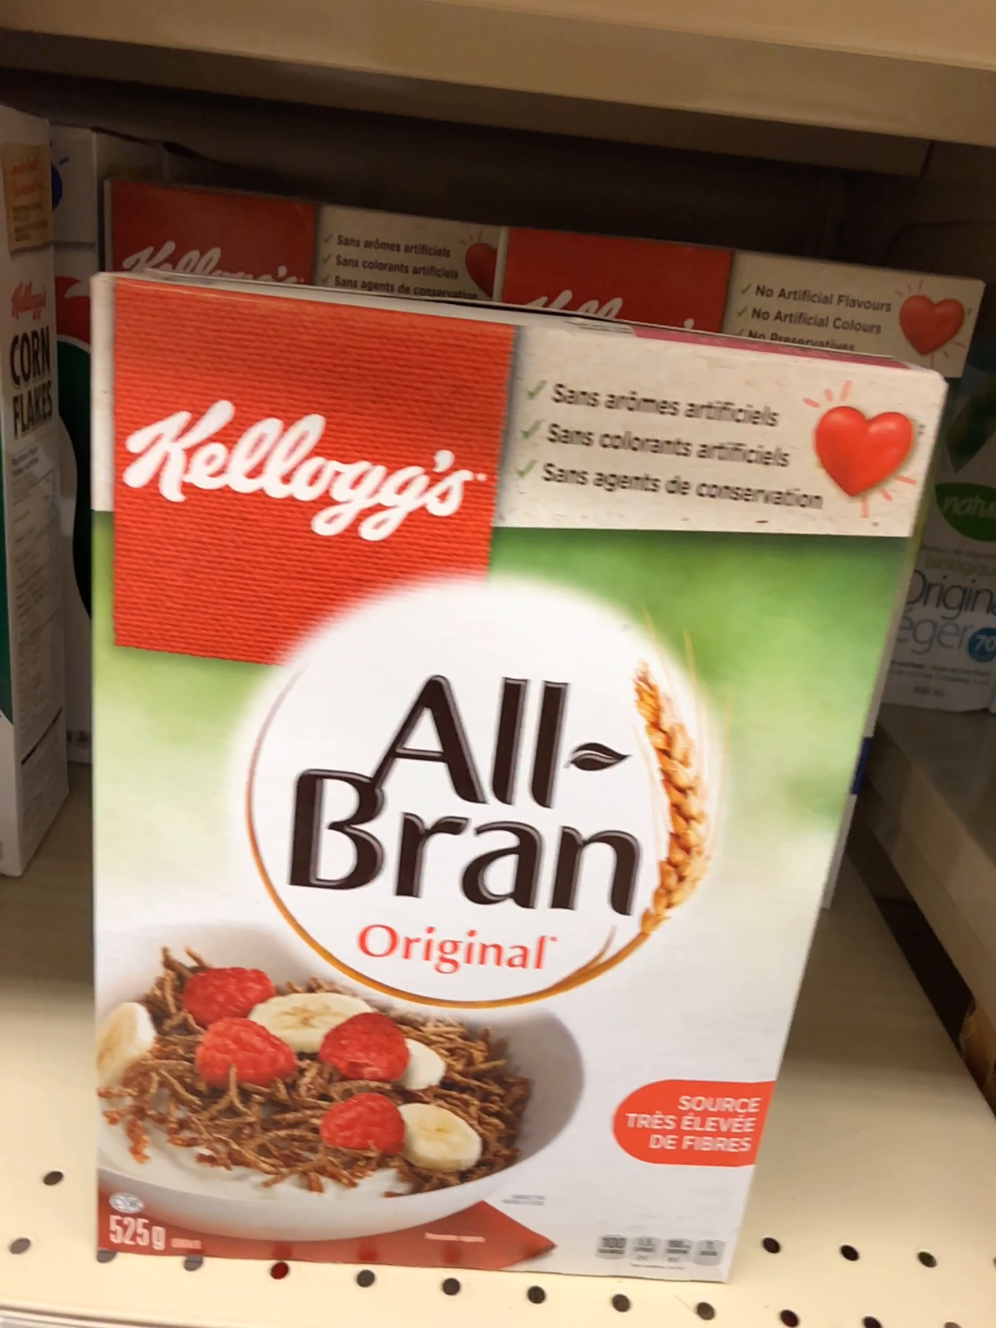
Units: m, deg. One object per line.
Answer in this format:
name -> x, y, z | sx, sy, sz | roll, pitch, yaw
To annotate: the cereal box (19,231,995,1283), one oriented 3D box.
cereal box -> -0.003, 0.035, 0.266 | 0.190, 0.238, 0.050 | 5, 21, -4
